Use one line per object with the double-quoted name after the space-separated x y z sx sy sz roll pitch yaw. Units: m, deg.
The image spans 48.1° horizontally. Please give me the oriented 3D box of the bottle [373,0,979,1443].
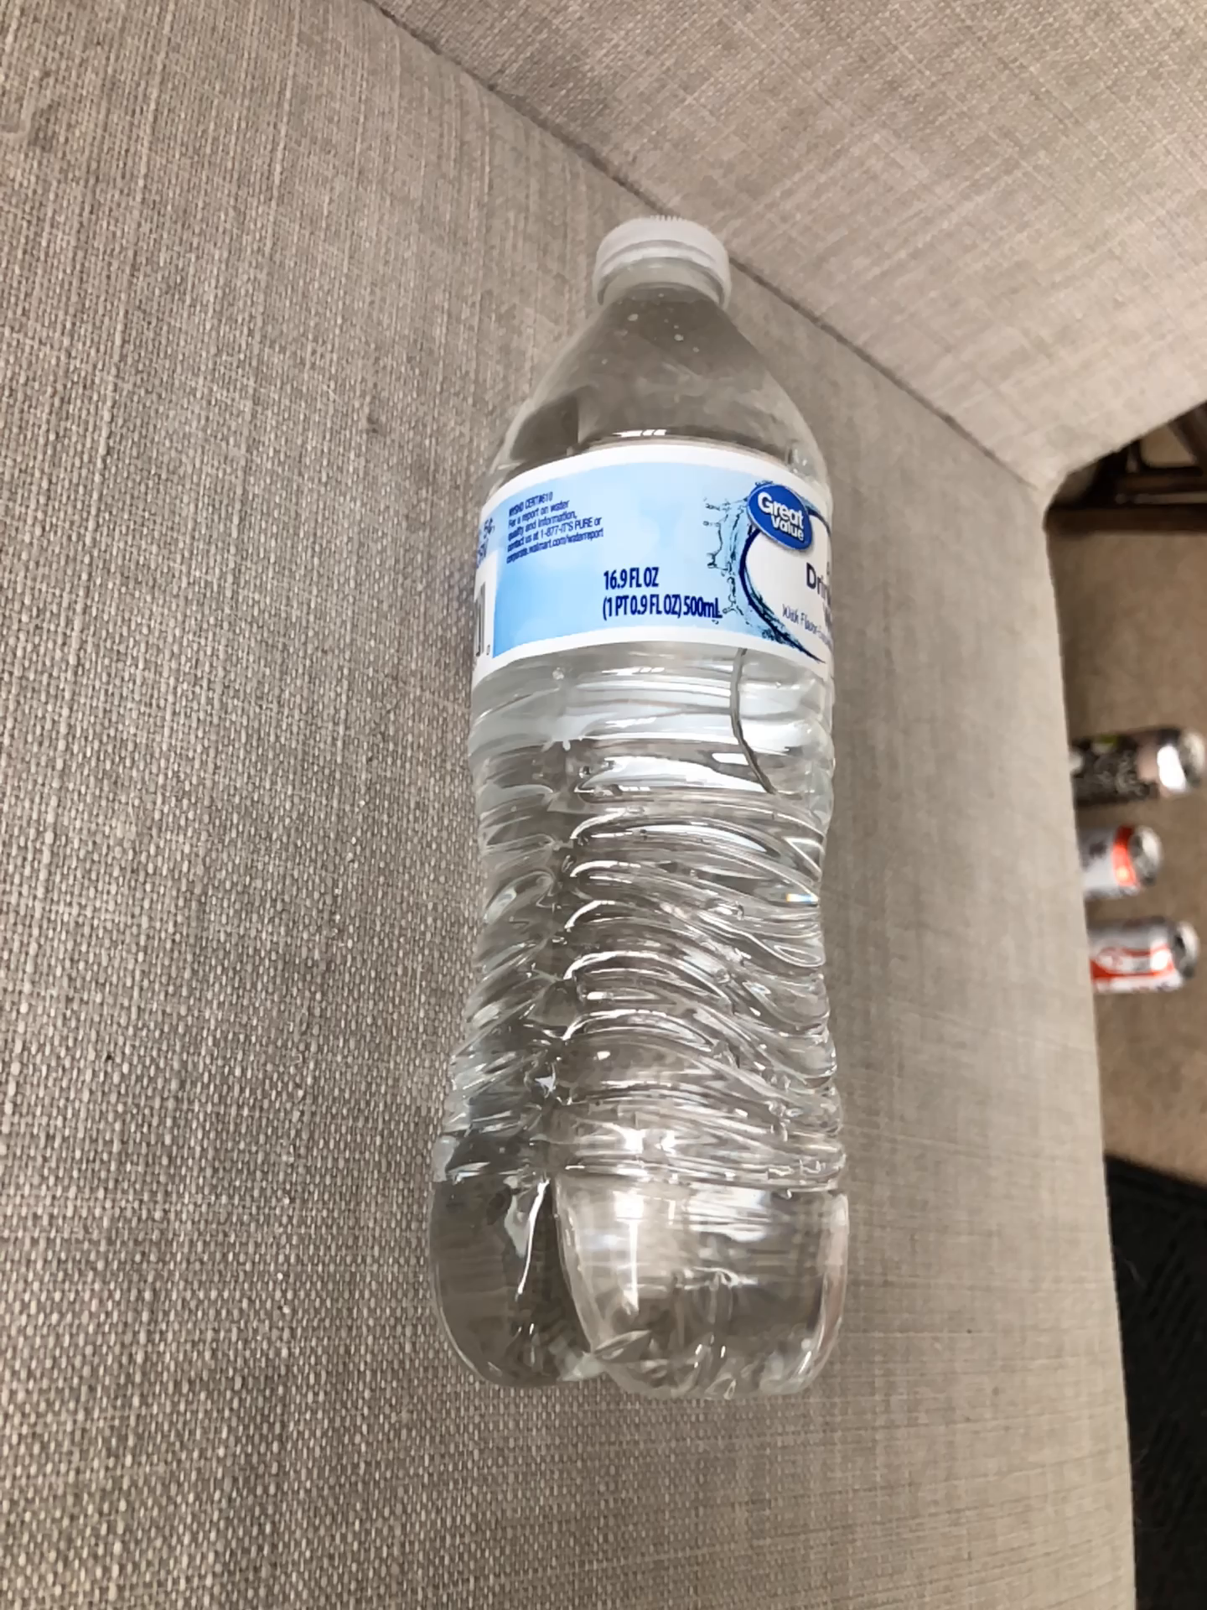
0.017 -0.022 0.238 0.070 0.080 0.230 47 42 -70 "bottle"
